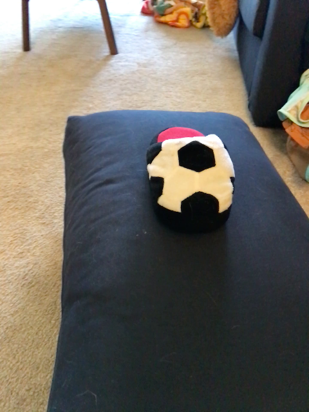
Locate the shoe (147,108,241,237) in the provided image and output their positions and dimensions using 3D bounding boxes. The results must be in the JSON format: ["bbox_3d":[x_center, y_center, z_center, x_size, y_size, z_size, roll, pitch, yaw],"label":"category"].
[{"bbox_3d":[0.044,-0.059,0.486,0.108,0.072,0.214,0,43,0],"label":"shoe"}]
